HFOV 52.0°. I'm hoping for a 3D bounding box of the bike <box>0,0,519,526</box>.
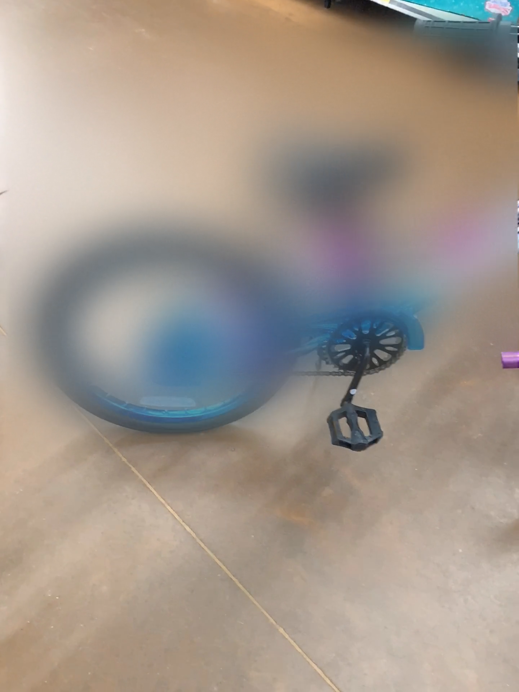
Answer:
[{"bbox_3d":[0.176,-0.278,0.953,1.120,0.877,0.622,-7,52,-12],"label":"bike"}]
